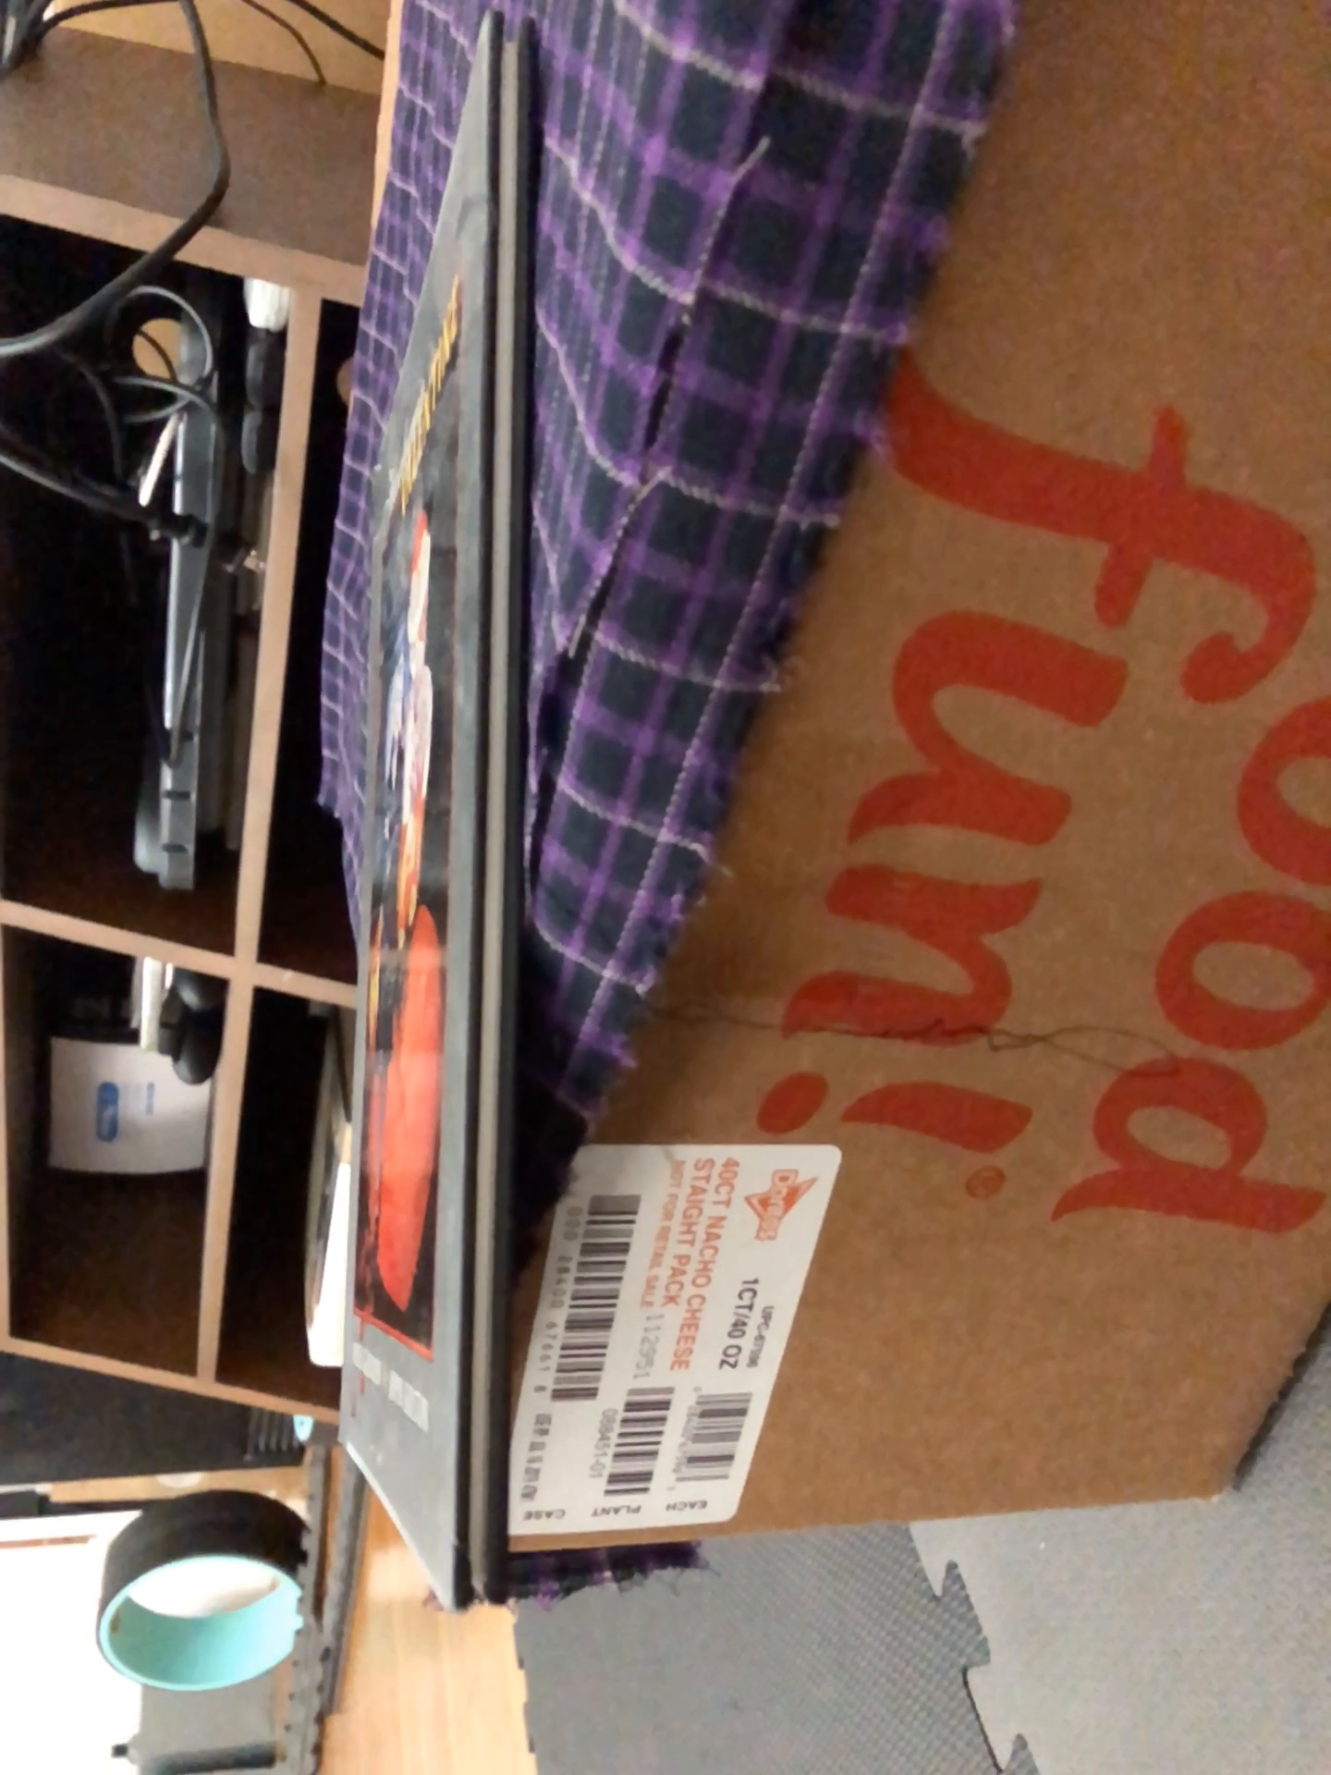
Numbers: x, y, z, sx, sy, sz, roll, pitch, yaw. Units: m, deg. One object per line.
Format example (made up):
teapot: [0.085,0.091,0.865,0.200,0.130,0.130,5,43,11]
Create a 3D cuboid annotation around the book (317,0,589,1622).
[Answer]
book: [-0.049,-0.020,0.311,0.180,0.020,0.280,143,128,-68]
